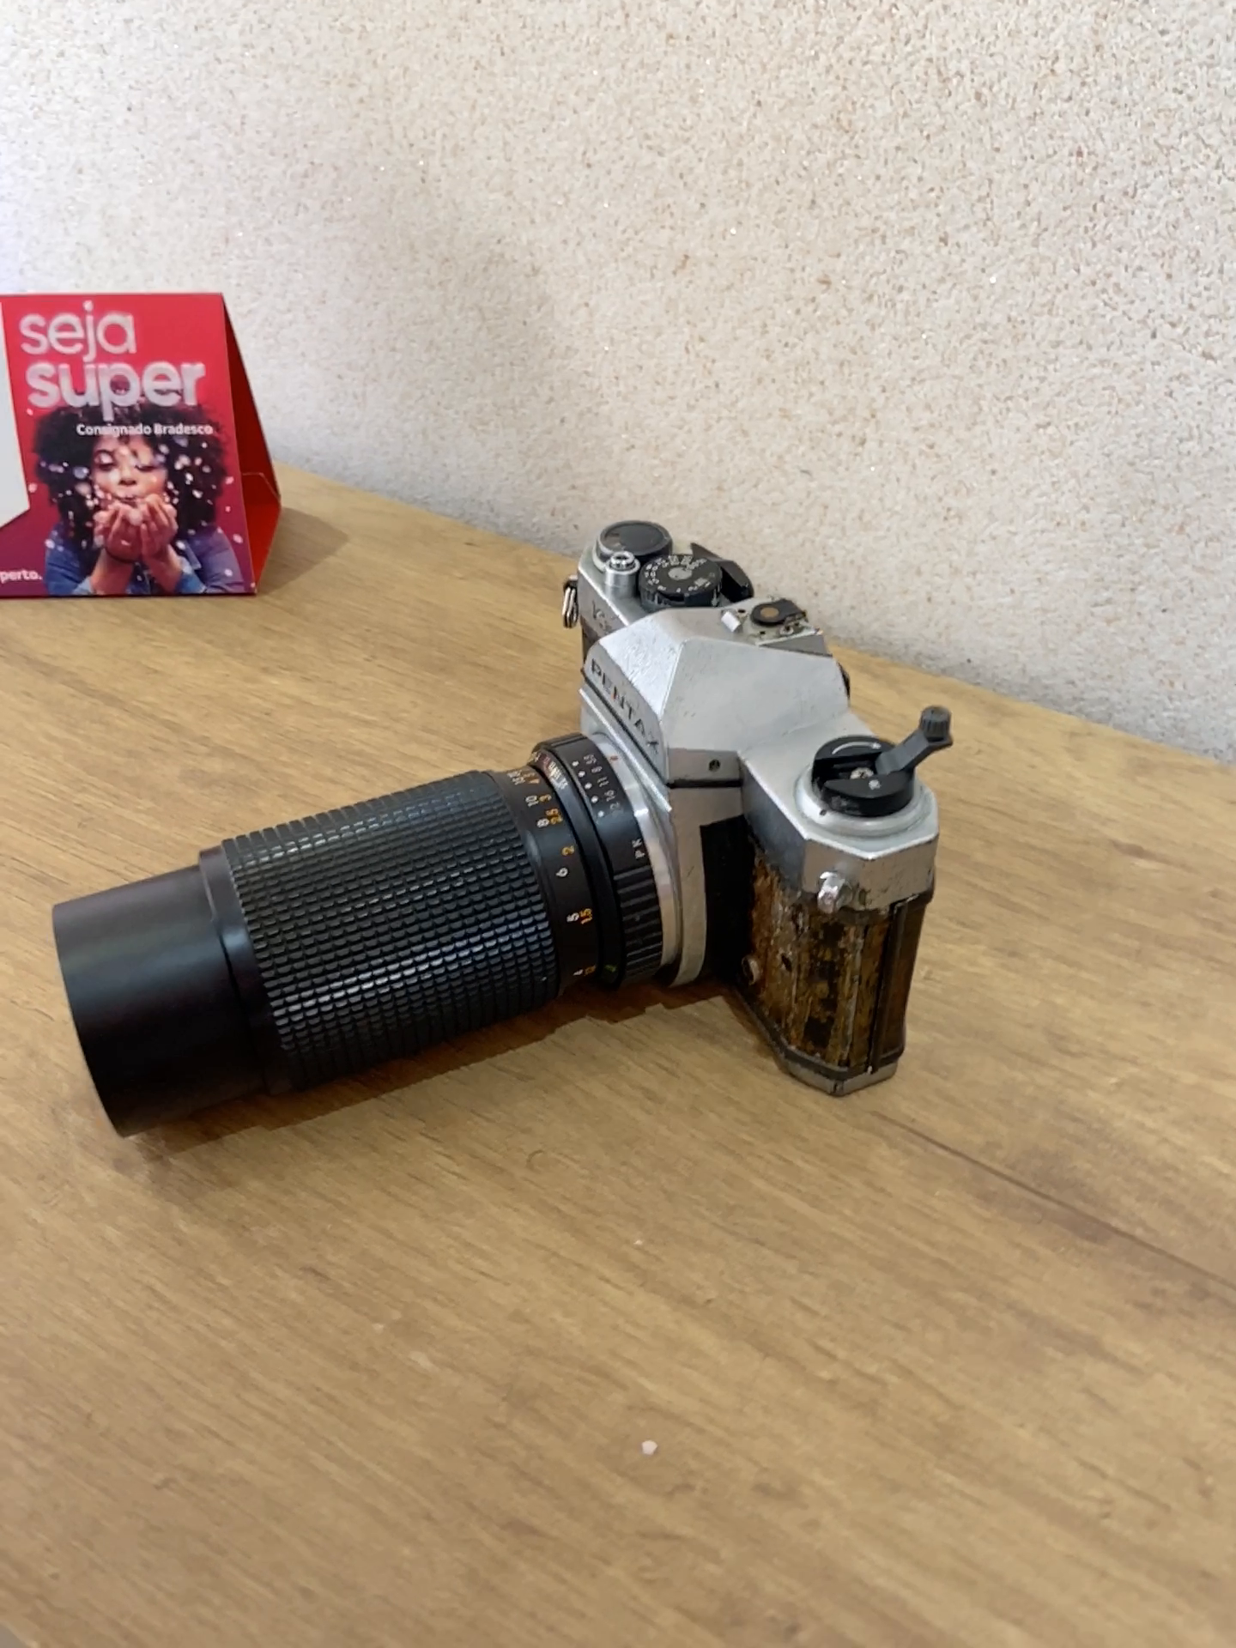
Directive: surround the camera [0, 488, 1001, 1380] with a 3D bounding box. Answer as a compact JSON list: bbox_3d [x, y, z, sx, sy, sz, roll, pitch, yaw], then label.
[{"bbox_3d":[-0.039,0.005,0.295,0.180,0.079,0.151,-17,41,-20],"label":"camera"}]
